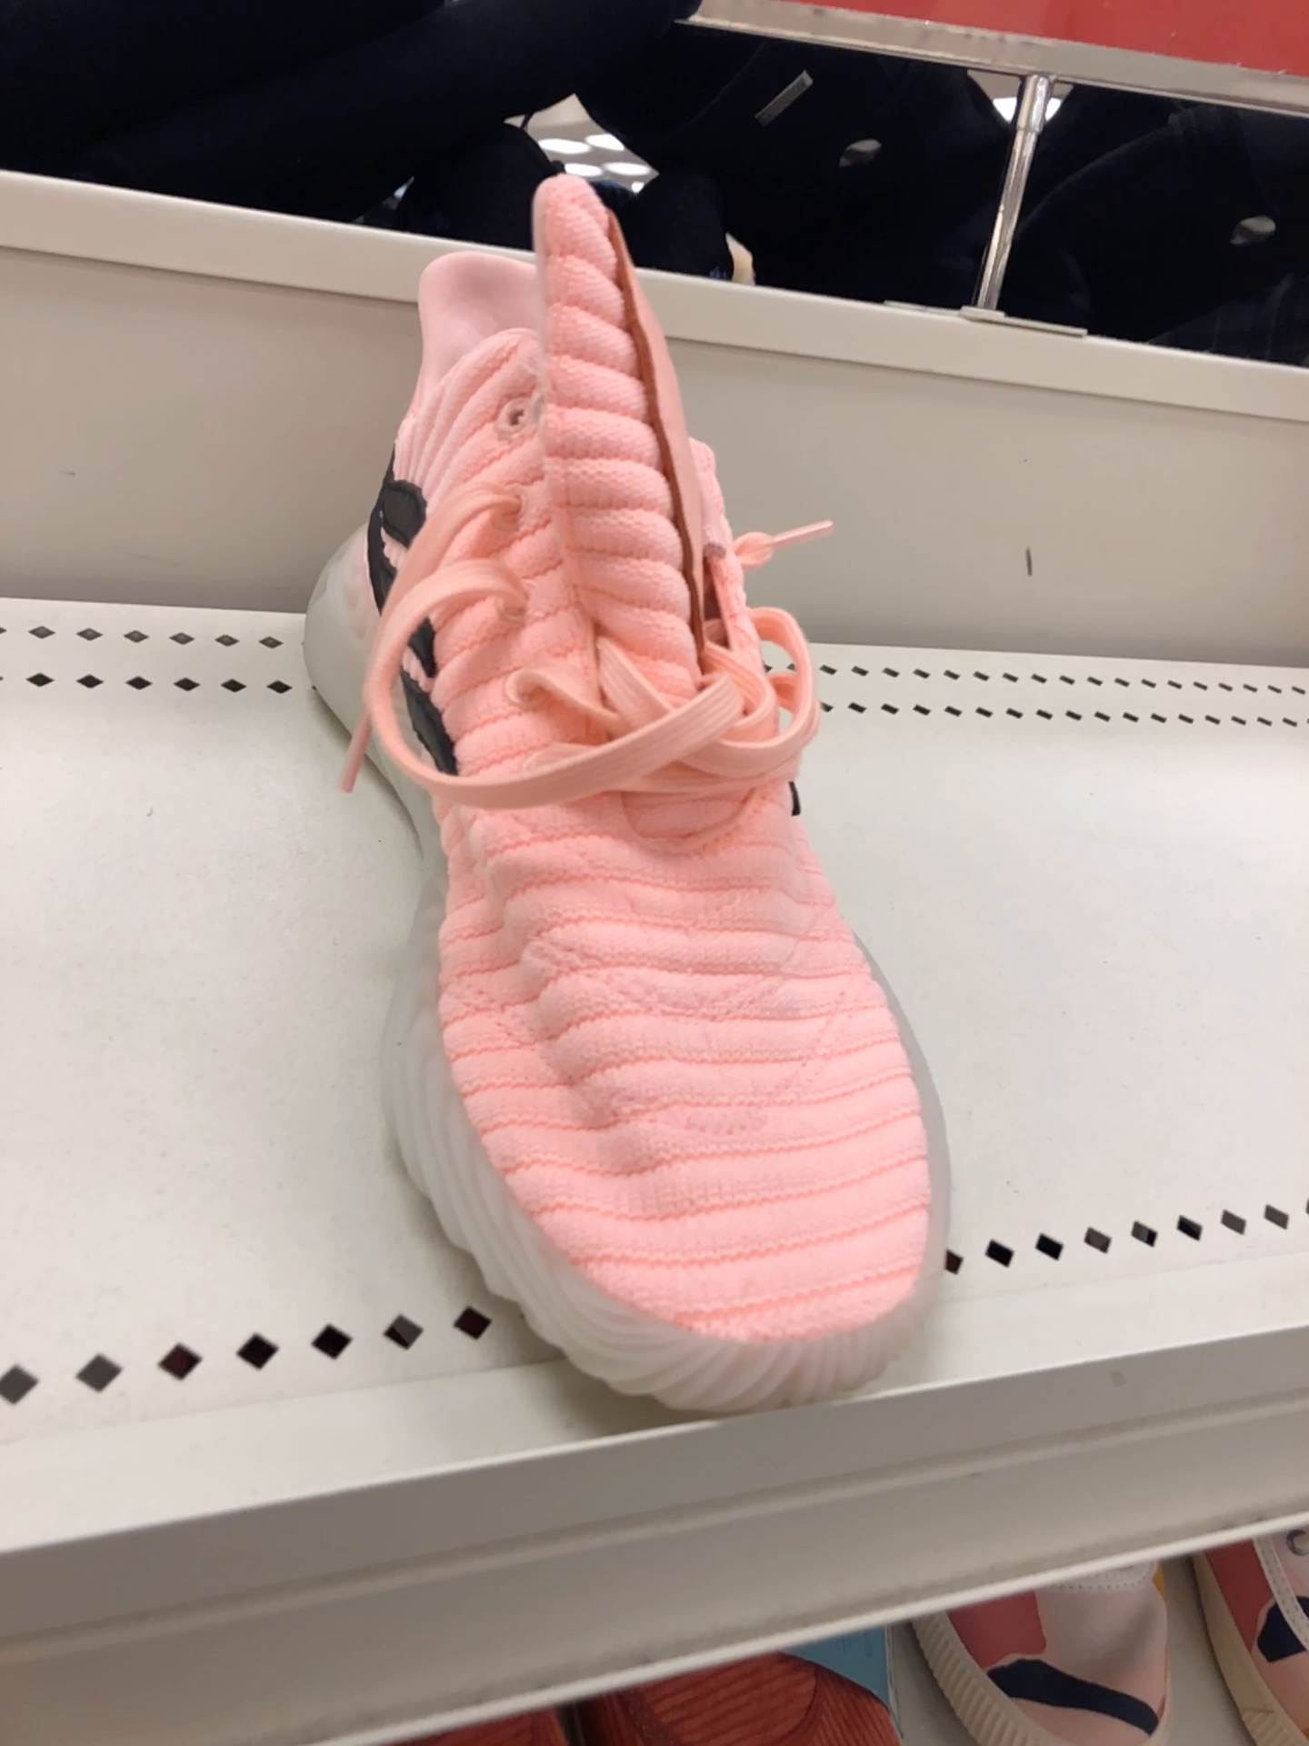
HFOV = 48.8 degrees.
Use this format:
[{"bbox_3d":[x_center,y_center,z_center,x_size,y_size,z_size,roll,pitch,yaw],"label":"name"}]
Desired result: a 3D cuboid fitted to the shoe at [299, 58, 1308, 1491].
[{"bbox_3d":[-0.004,-0.062,0.332,0.120,0.169,0.323,1,34,-19],"label":"shoe"}]
